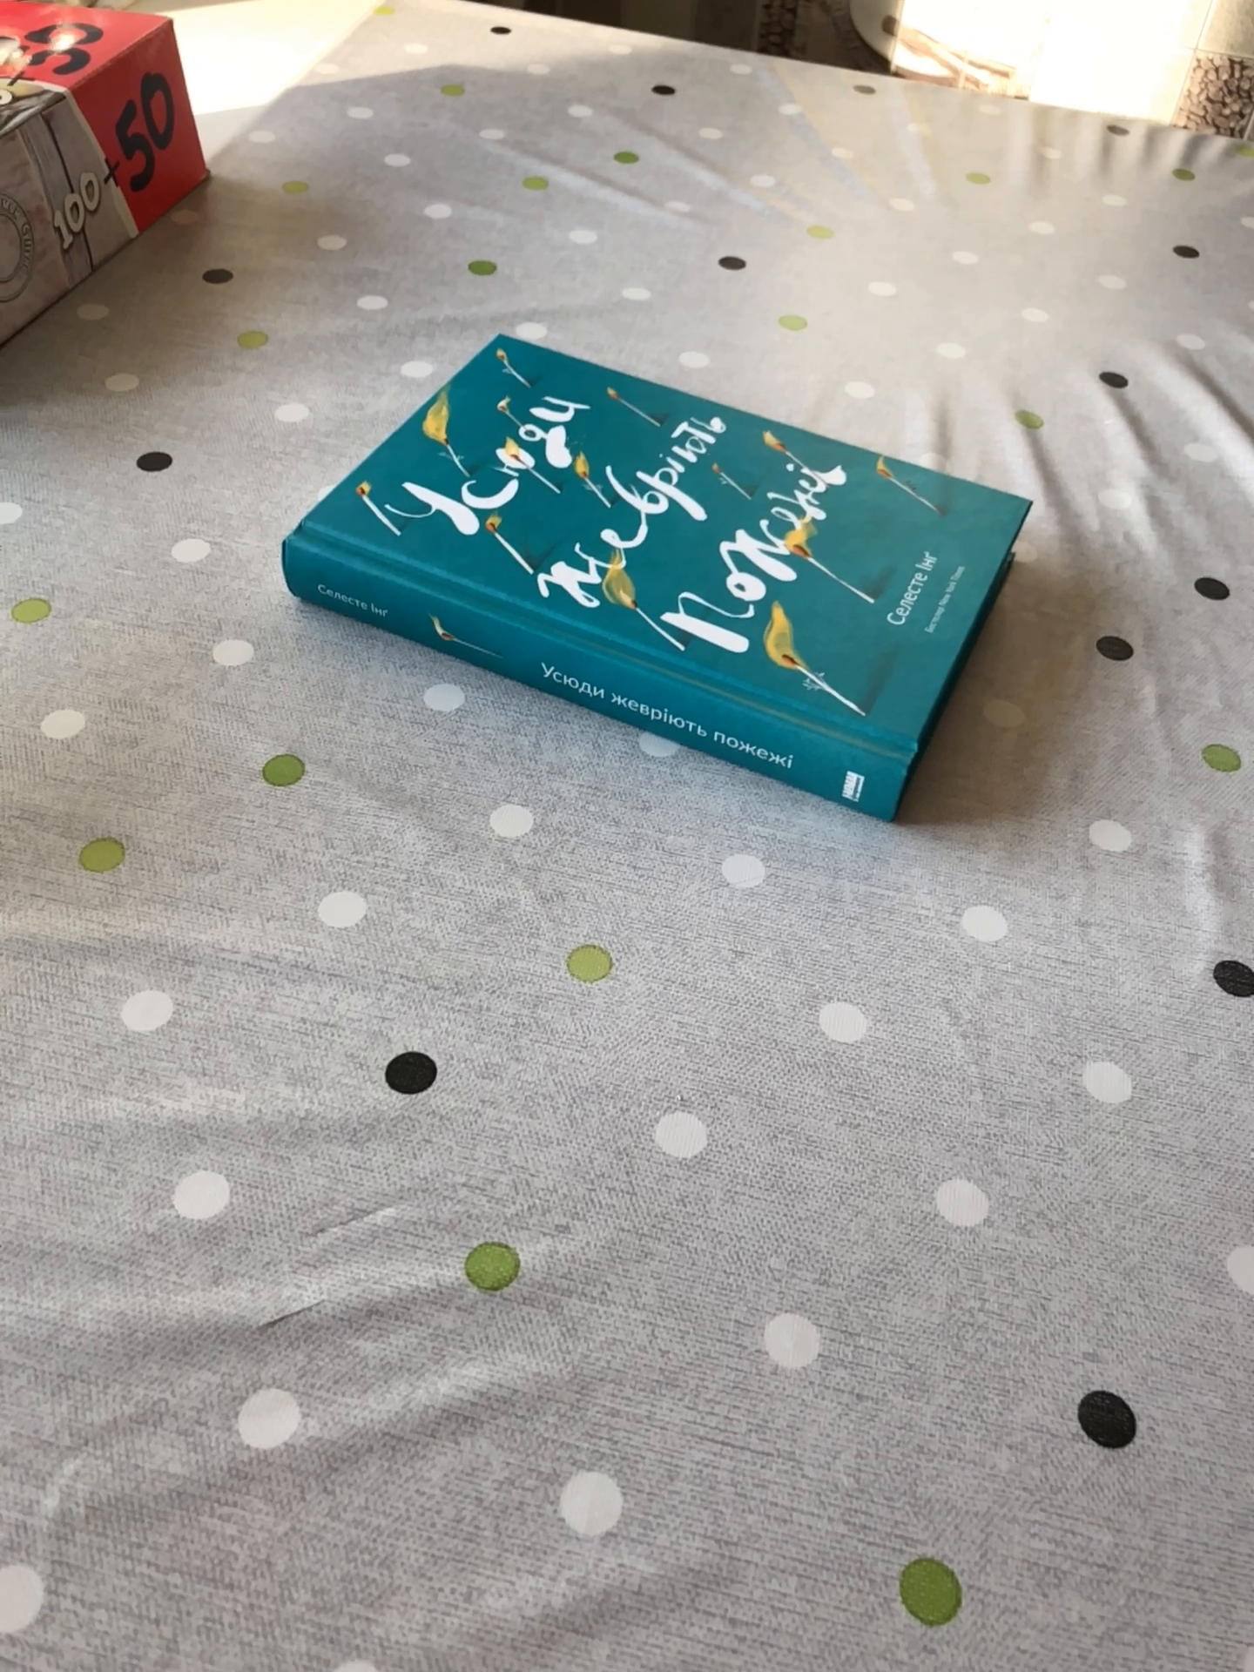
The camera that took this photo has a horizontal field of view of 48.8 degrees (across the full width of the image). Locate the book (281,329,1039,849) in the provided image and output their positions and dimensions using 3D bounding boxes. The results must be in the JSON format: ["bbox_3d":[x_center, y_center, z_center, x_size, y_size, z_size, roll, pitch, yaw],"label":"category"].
[{"bbox_3d":[0.015,-0.095,0.476,0.213,0.040,0.144,21,51,13],"label":"book"}]
